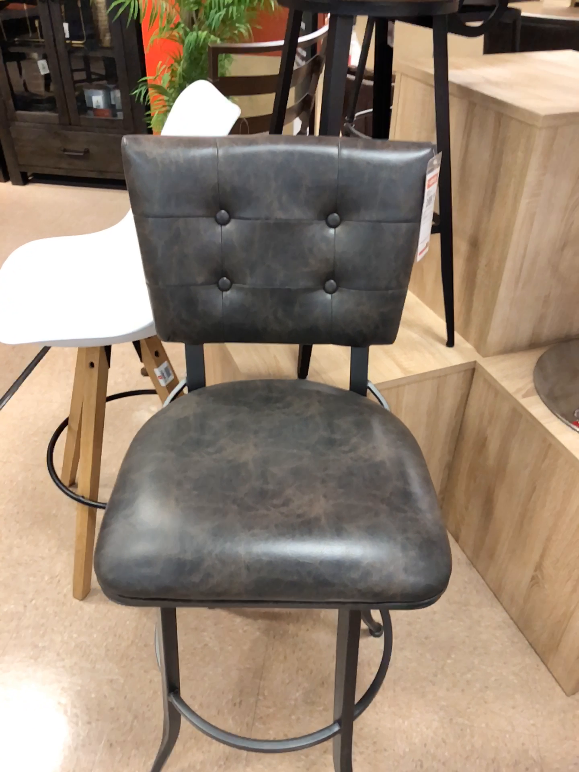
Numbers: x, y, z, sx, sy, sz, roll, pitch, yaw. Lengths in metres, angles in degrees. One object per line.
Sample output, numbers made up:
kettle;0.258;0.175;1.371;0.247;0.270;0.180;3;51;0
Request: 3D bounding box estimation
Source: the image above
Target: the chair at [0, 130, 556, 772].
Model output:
chair;-0.029;0.224;1.052;0.518;1.108;0.515;1;37;2
